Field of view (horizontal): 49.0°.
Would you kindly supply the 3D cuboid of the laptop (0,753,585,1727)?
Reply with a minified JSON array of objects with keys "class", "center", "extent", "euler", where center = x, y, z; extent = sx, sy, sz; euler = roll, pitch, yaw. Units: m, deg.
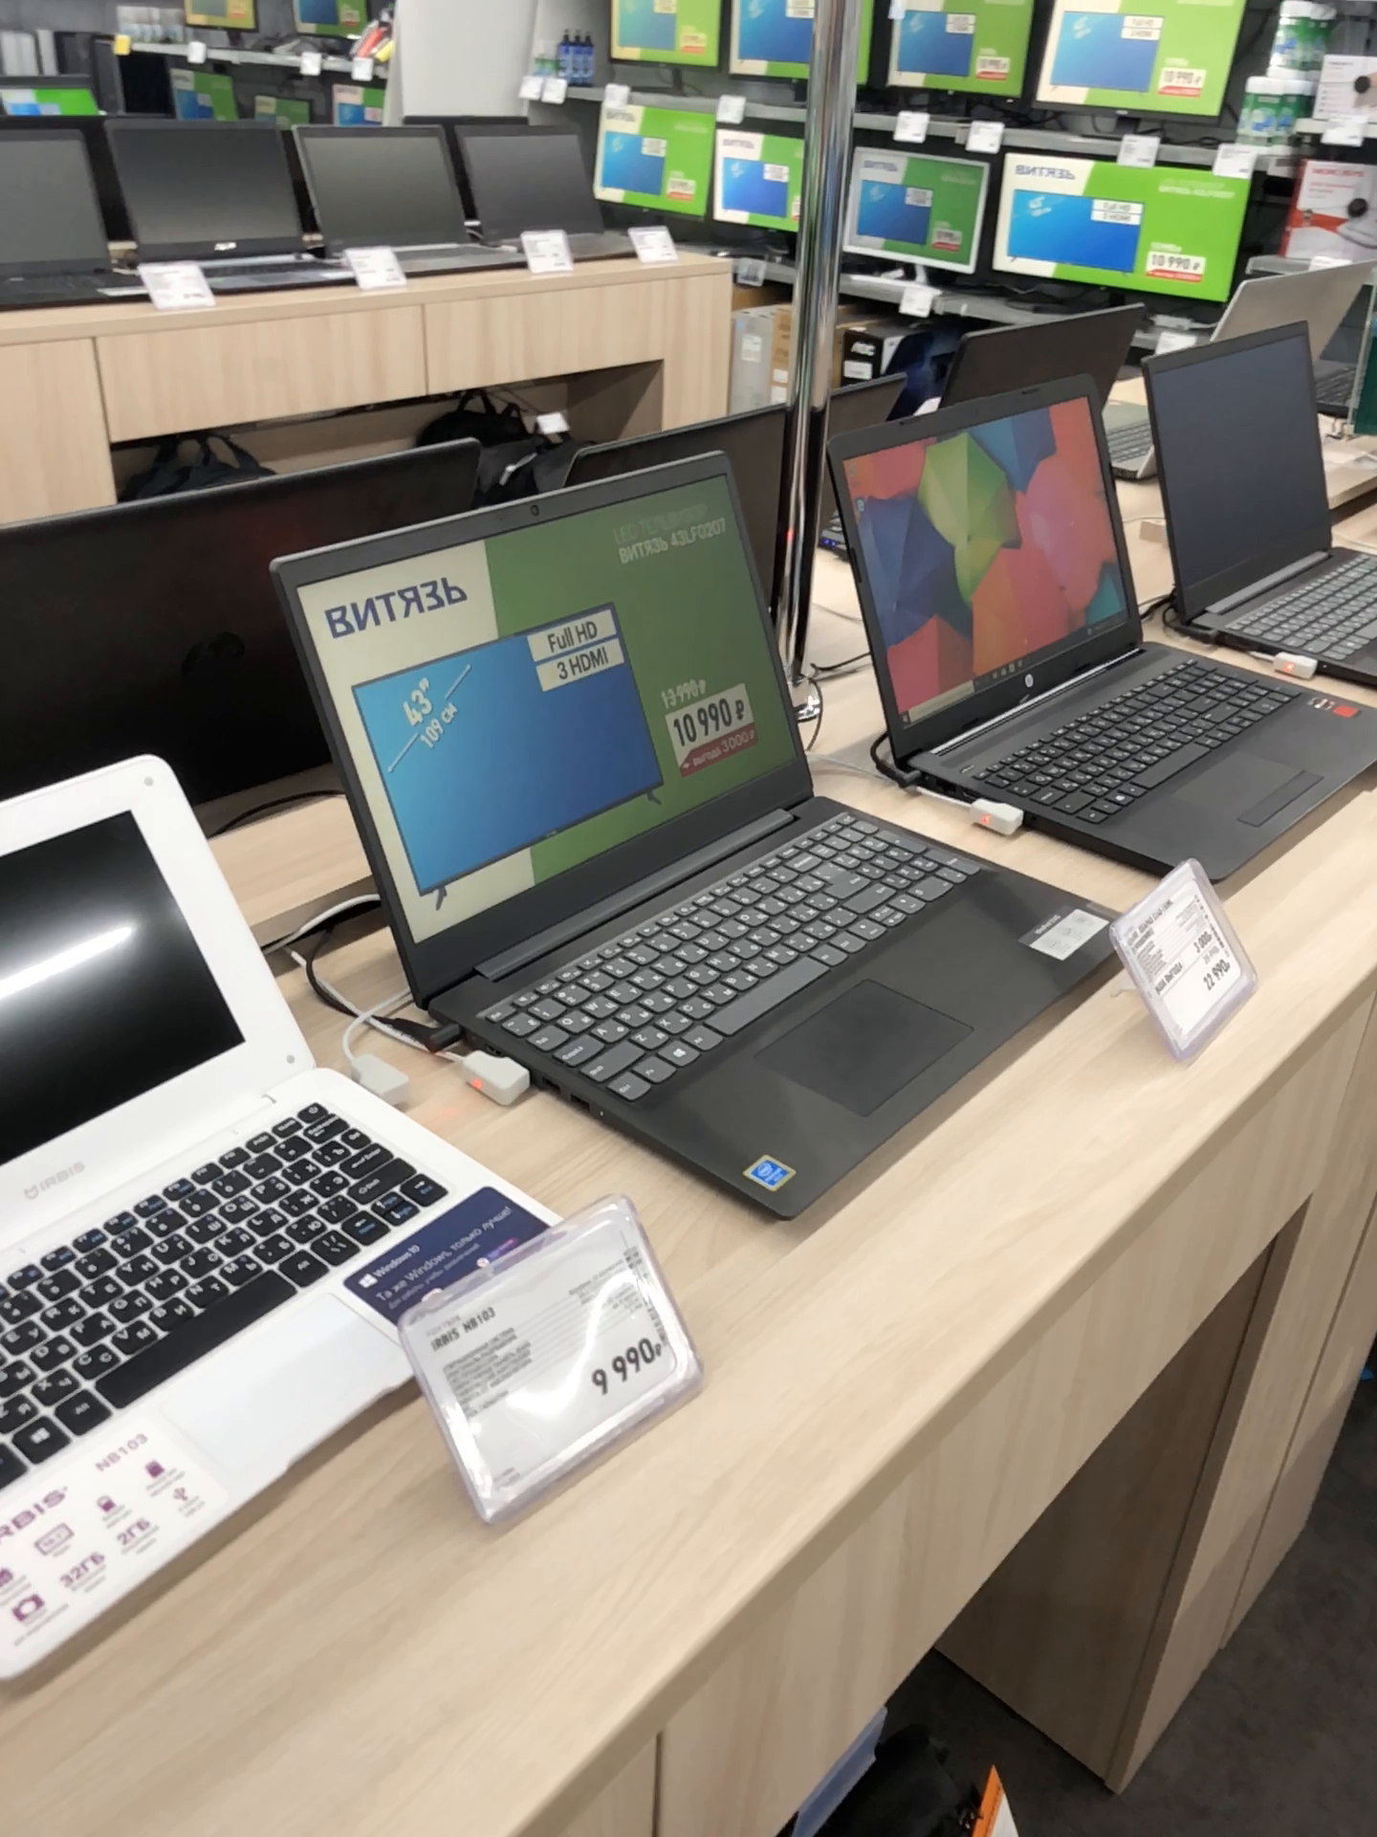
[{"class":"laptop","center":[-0.243,0.082,0.596],"extent":[0.289,0.139,0.280],"euler":[24,36,32]}]

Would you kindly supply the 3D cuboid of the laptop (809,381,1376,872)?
[{"class":"laptop","center":[0.341,-0.244,1.126],"extent":[0.321,0.206,0.375],"euler":[26,37,34]}]

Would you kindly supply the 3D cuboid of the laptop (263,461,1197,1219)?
[{"class":"laptop","center":[0.027,-0.084,0.829],"extent":[0.341,0.212,0.356],"euler":[25,35,32]}]
